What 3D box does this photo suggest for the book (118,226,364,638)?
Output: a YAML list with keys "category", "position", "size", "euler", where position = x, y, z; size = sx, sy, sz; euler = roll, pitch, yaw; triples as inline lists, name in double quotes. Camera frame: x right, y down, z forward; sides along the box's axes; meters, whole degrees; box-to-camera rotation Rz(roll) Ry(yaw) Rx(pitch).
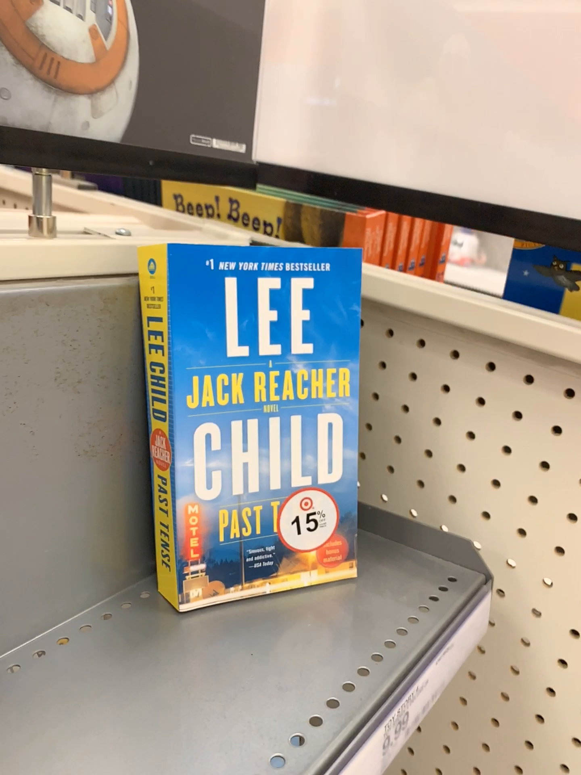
- category: "book"
  position: [-0.026, 0.016, 0.350]
  size: [0.110, 0.197, 0.080]
  euler: [-6, 8, -39]
